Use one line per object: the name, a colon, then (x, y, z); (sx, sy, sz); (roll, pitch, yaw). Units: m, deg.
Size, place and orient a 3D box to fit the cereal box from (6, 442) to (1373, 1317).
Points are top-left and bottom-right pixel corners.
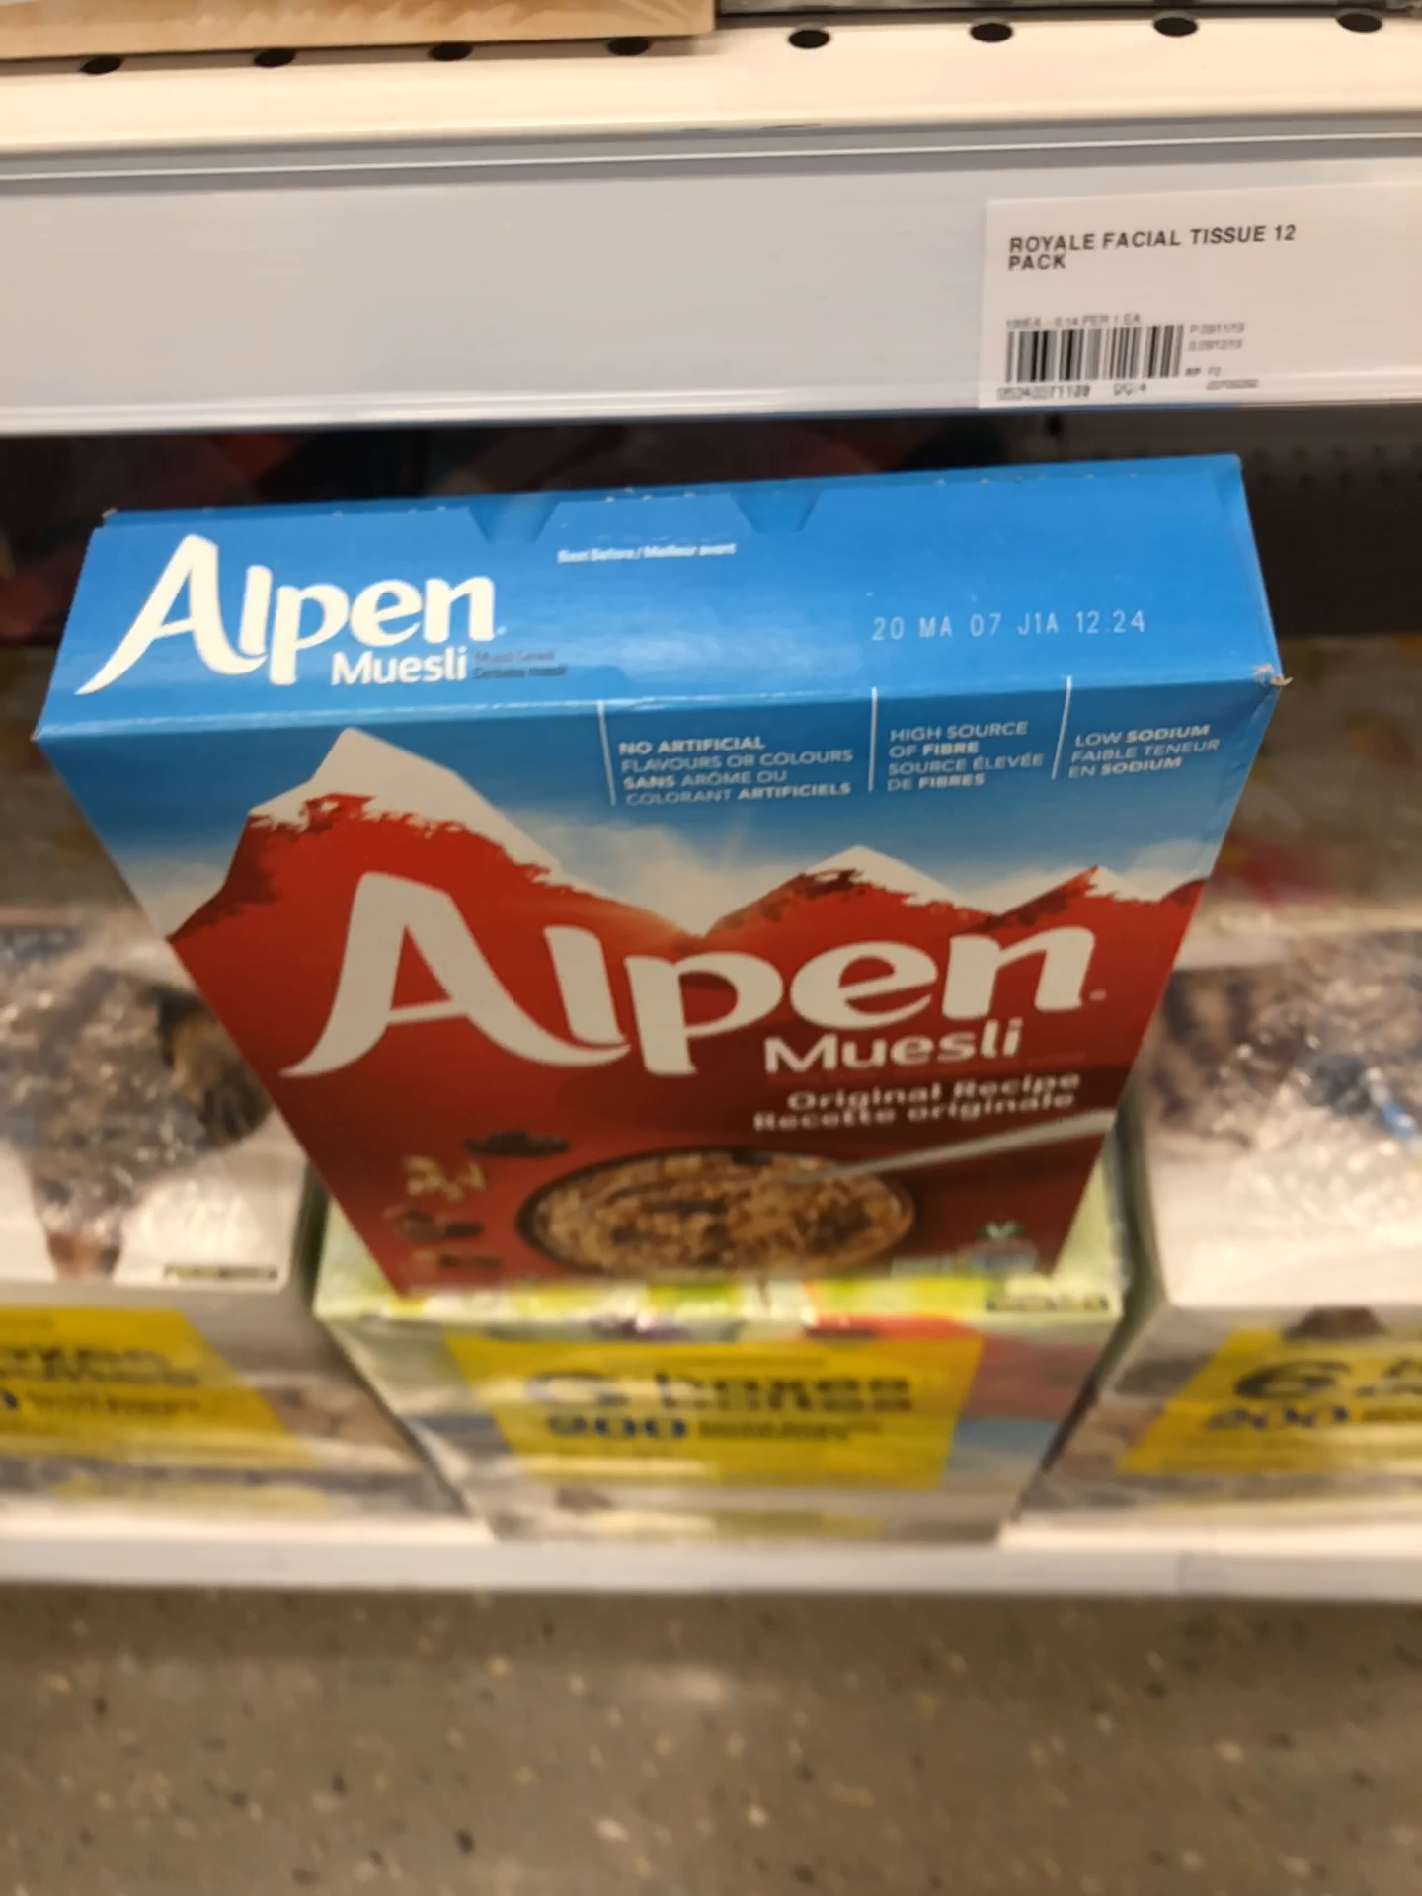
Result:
cereal box: (0.000, 0.010, 0.322); (0.180, 0.229, 0.050); (-3, 59, 1)
